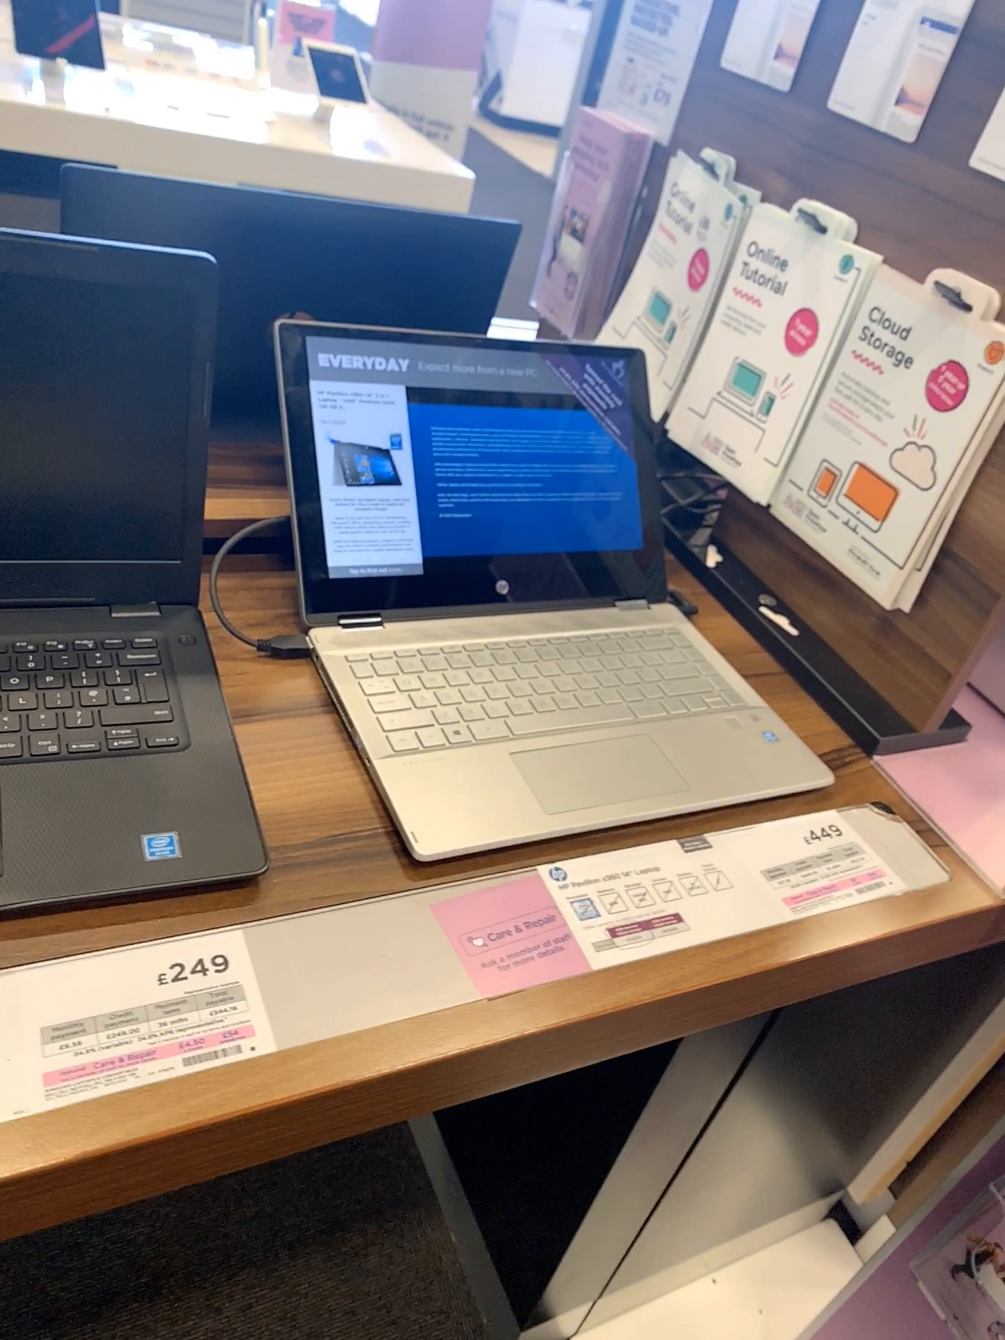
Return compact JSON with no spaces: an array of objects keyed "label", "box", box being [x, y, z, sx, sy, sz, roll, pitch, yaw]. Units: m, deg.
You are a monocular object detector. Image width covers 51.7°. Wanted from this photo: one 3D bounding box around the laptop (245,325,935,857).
[{"label":"laptop","box":[0.031,-0.083,0.722,0.313,0.154,0.362,-6,41,-28]}]
